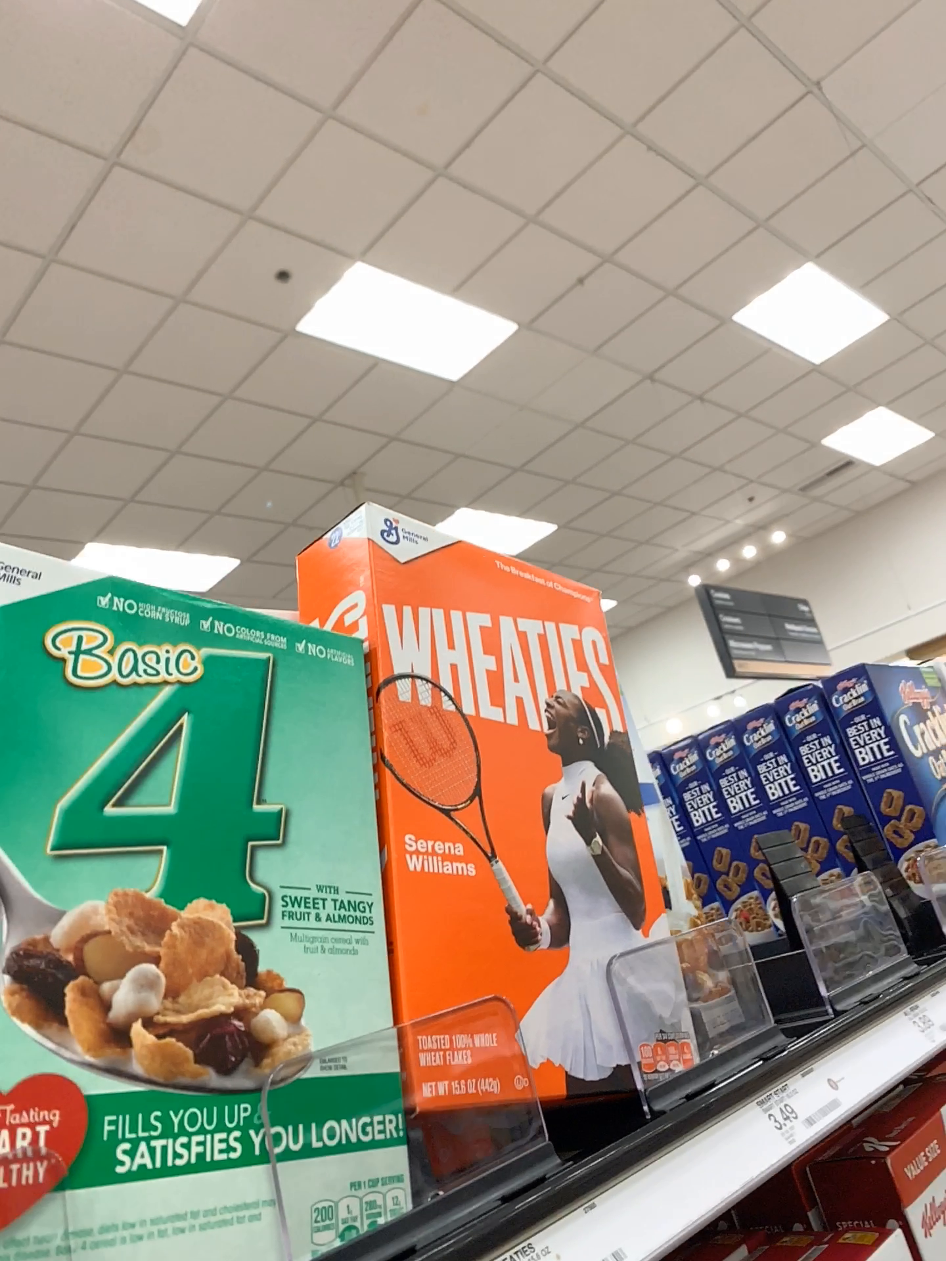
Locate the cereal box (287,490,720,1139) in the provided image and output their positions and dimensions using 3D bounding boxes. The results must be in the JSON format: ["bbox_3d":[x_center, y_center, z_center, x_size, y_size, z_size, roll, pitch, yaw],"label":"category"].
[{"bbox_3d":[0.010,0.093,0.516,0.199,0.292,0.070,17,-36,-38],"label":"cereal box"}]
